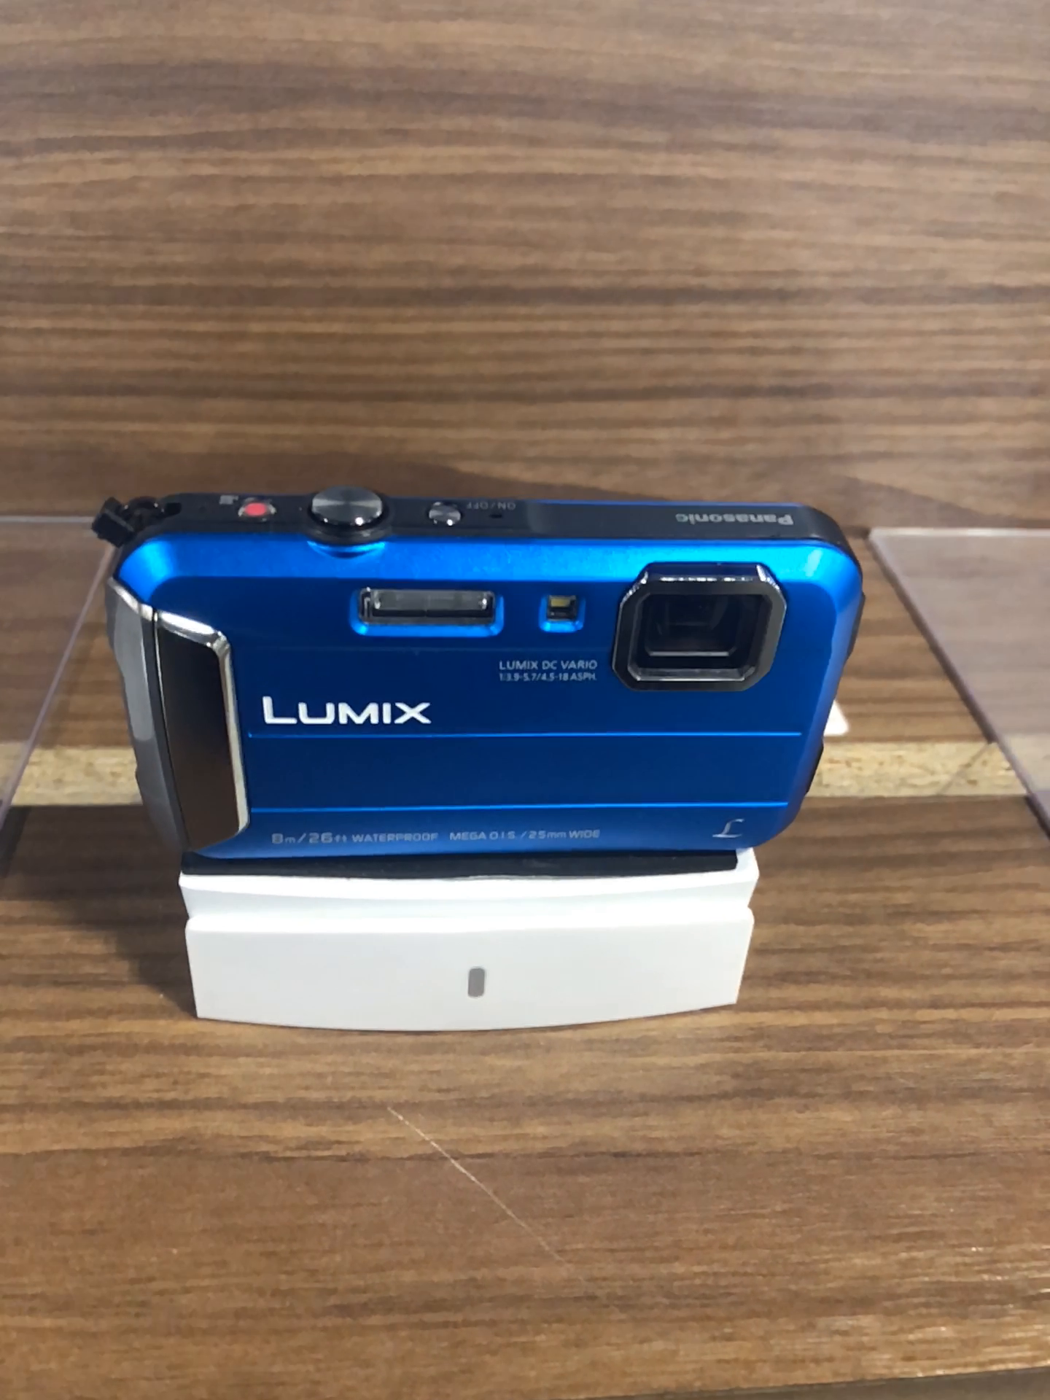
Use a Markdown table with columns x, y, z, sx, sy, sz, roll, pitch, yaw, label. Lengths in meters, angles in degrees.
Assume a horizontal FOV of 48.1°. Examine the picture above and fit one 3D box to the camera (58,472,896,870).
| x | y | z | sx | sy | sz | roll | pitch | yaw | label |
| --- | --- | --- | --- | --- | --- | --- | --- | --- | --- |
| -0.006 | -0.003 | 0.166 | 0.100 | 0.051 | 0.023 | 0 | 40 | -6 | camera |
